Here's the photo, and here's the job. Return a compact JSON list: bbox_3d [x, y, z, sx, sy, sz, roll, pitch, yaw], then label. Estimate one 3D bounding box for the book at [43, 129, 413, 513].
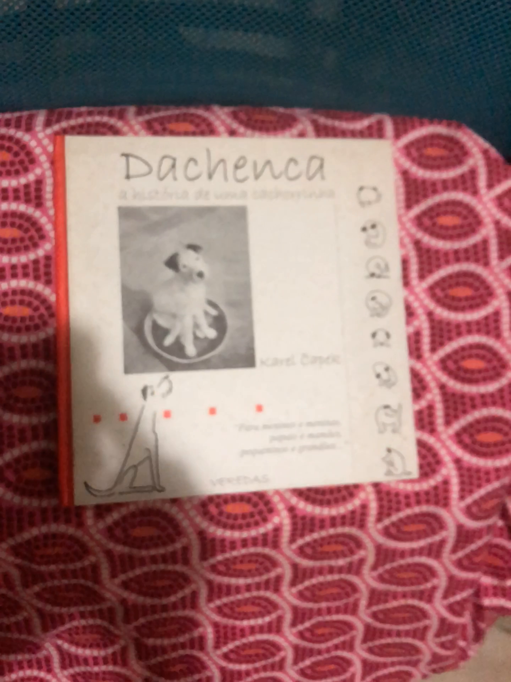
[{"bbox_3d":[-0.017,-0.018,0.349,0.205,0.027,0.216,-3,83,-9],"label":"book"}]
